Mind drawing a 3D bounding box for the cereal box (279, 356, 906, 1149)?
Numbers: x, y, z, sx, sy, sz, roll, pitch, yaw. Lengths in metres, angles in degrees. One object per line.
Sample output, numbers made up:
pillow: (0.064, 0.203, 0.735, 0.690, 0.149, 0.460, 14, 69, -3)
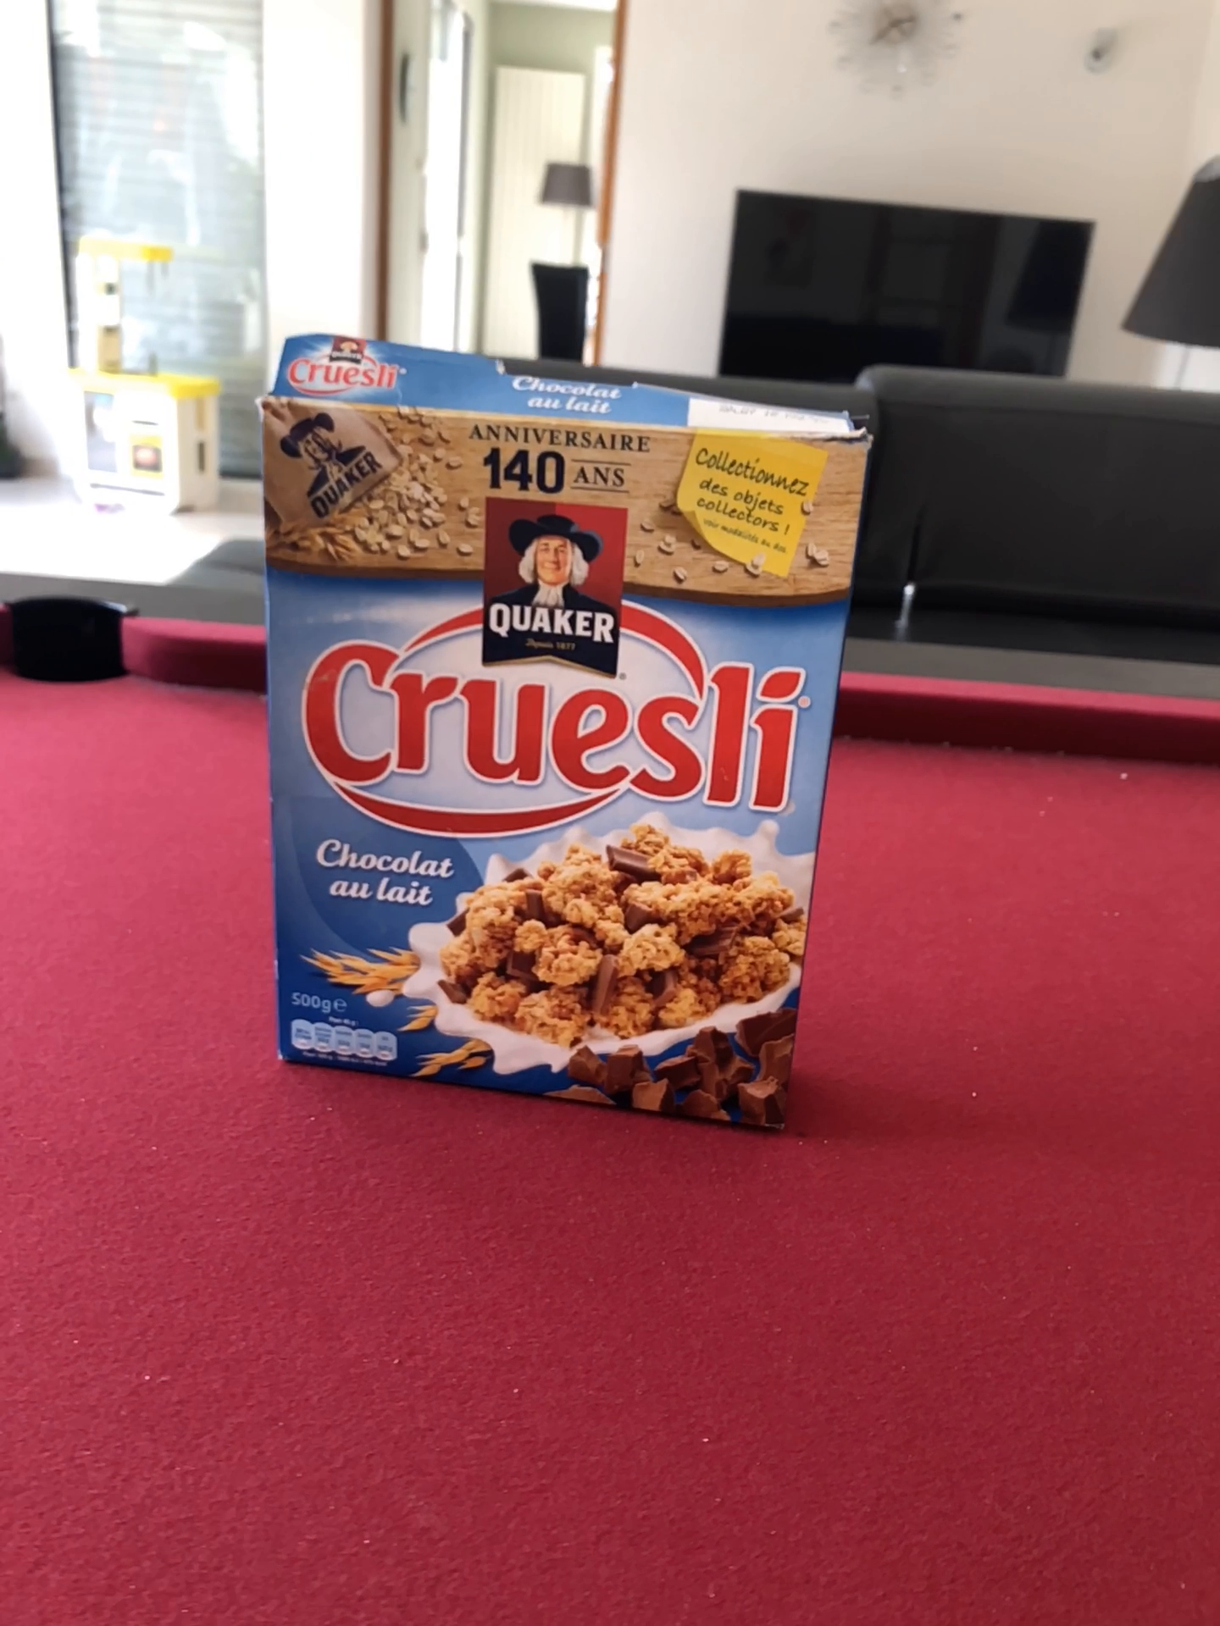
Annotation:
cereal box: (-0.015, -0.015, 0.477, 0.190, 0.259, 0.050, 6, 21, 2)
